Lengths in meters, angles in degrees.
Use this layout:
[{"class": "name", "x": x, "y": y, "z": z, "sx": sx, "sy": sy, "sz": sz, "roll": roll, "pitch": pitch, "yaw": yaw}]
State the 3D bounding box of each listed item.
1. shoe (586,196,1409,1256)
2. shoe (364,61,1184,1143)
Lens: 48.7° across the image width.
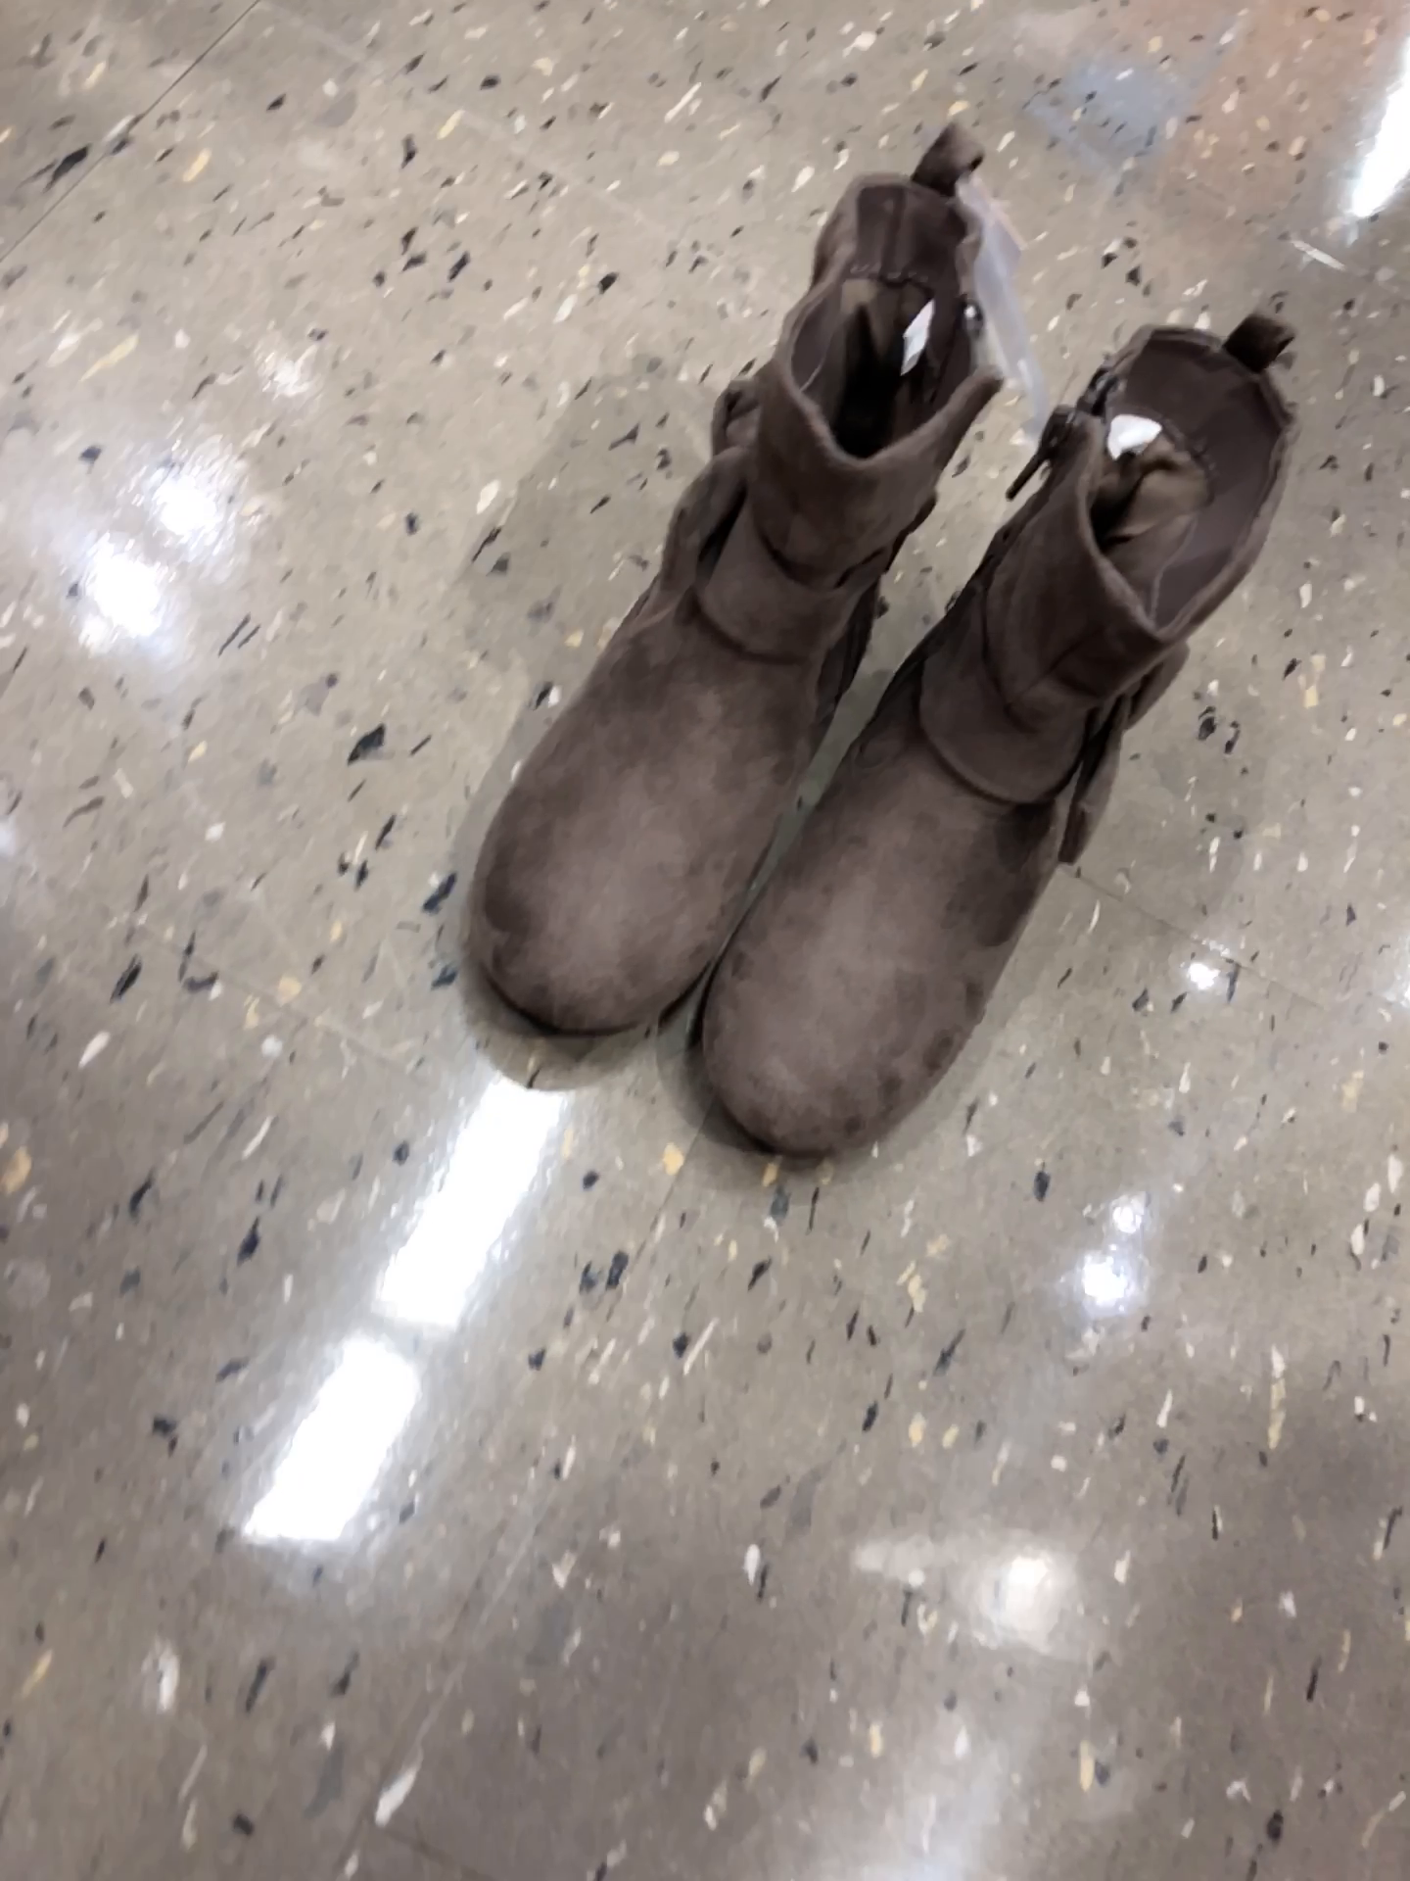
[{"class": "shoe", "x": 0.068, "y": -0.043, "z": 0.385, "sx": 0.080, "sy": 0.160, "sz": 0.200, "roll": 32, "pitch": 65, "yaw": 0}, {"class": "shoe", "x": 0.009, "y": -0.073, "z": 0.384, "sx": 0.080, "sy": 0.160, "sz": 0.200, "roll": 32, "pitch": 65, "yaw": 0}]
